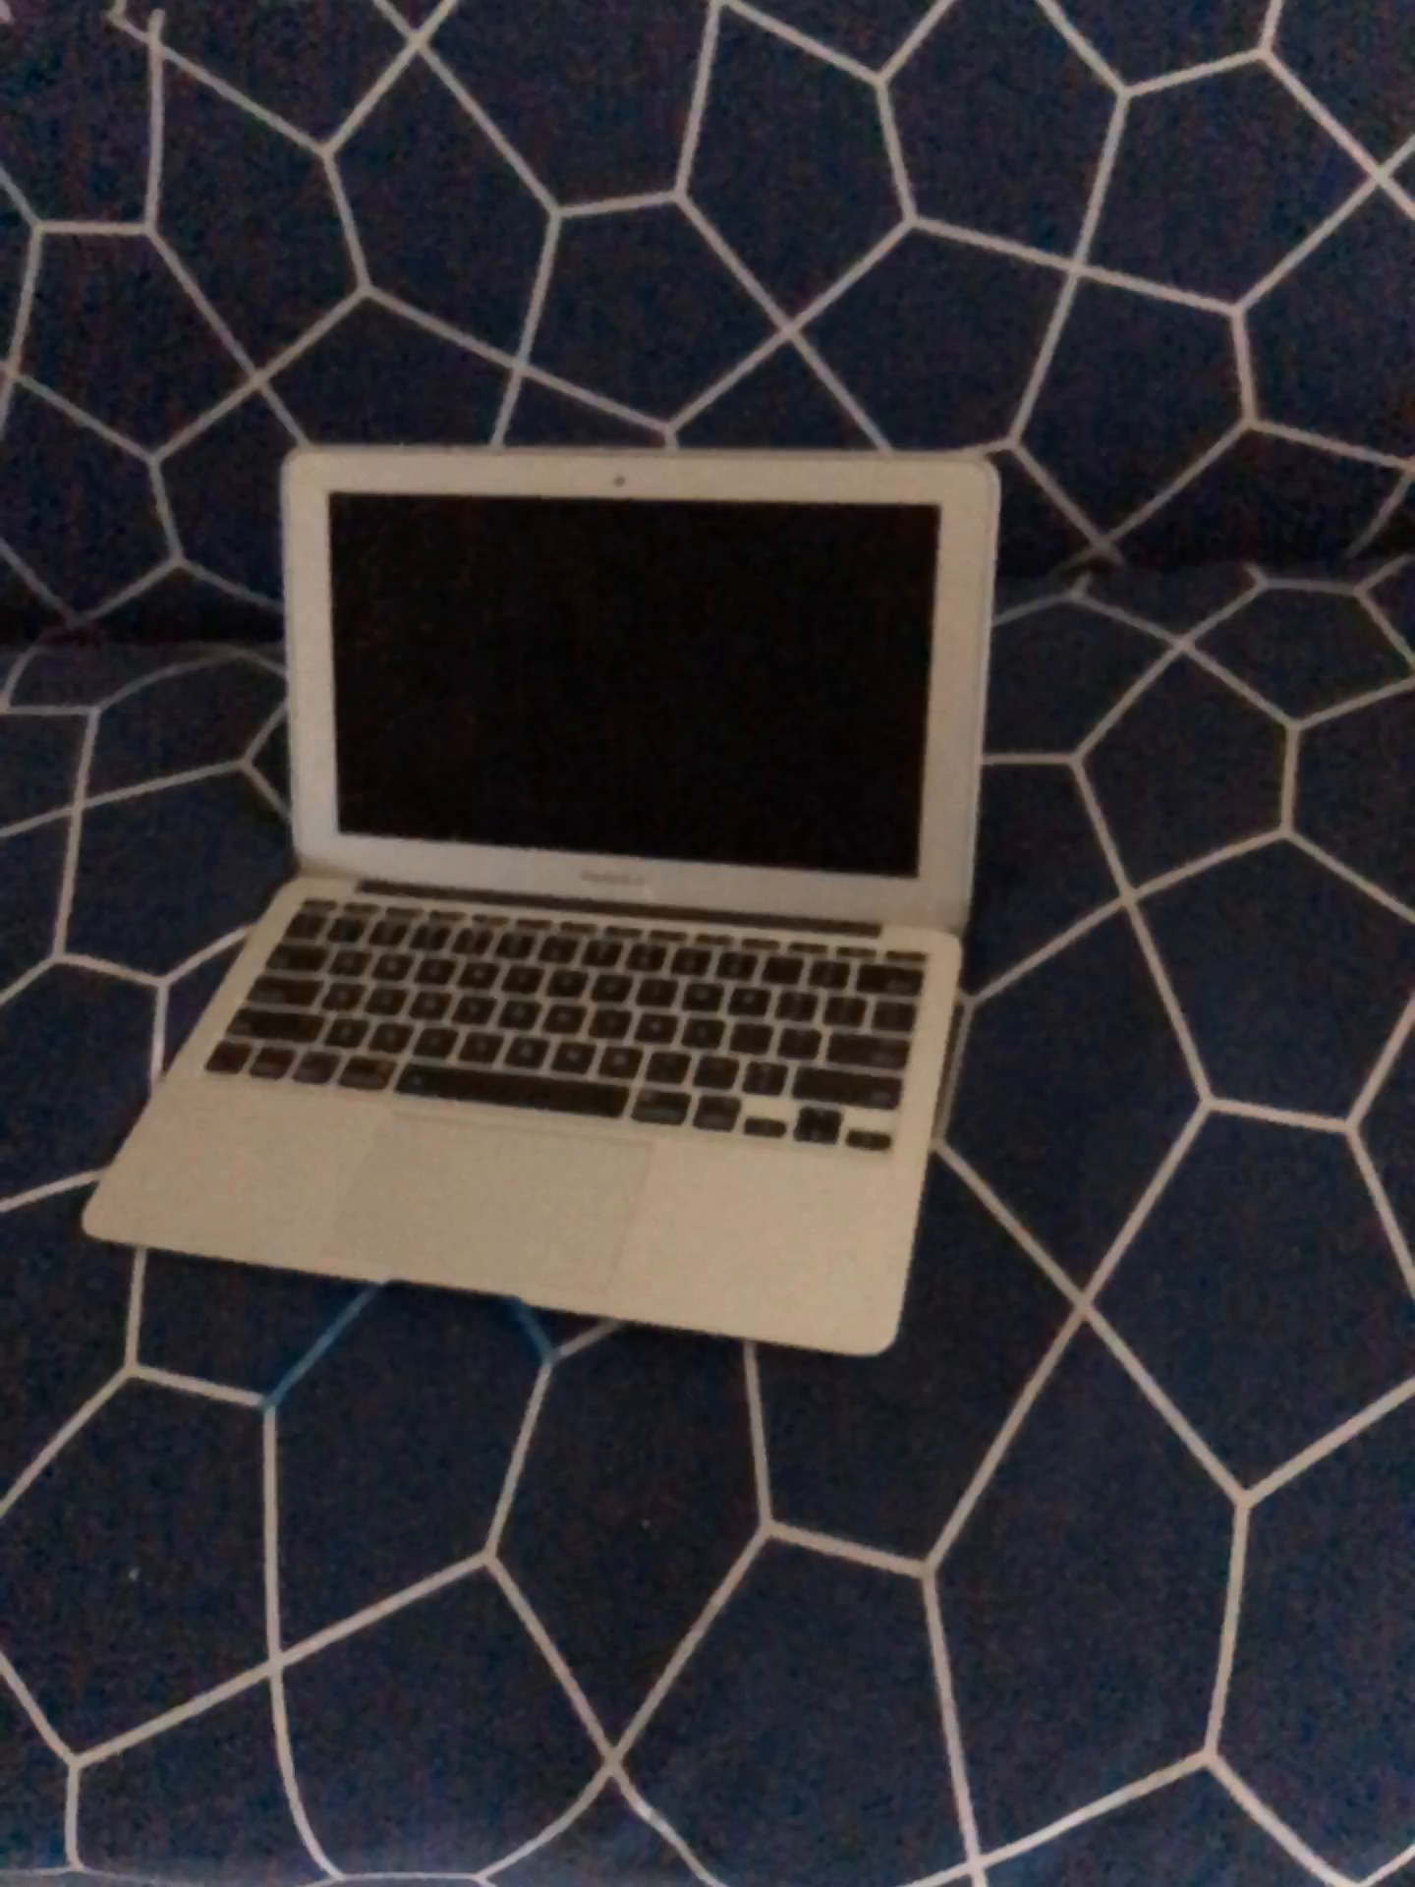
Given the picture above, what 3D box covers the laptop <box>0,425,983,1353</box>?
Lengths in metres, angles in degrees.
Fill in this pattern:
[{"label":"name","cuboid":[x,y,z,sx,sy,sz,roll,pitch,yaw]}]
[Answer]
[{"label":"laptop","cuboid":[-0.057,-0.043,0.567,0.281,0.156,0.281,5,45,13]}]
